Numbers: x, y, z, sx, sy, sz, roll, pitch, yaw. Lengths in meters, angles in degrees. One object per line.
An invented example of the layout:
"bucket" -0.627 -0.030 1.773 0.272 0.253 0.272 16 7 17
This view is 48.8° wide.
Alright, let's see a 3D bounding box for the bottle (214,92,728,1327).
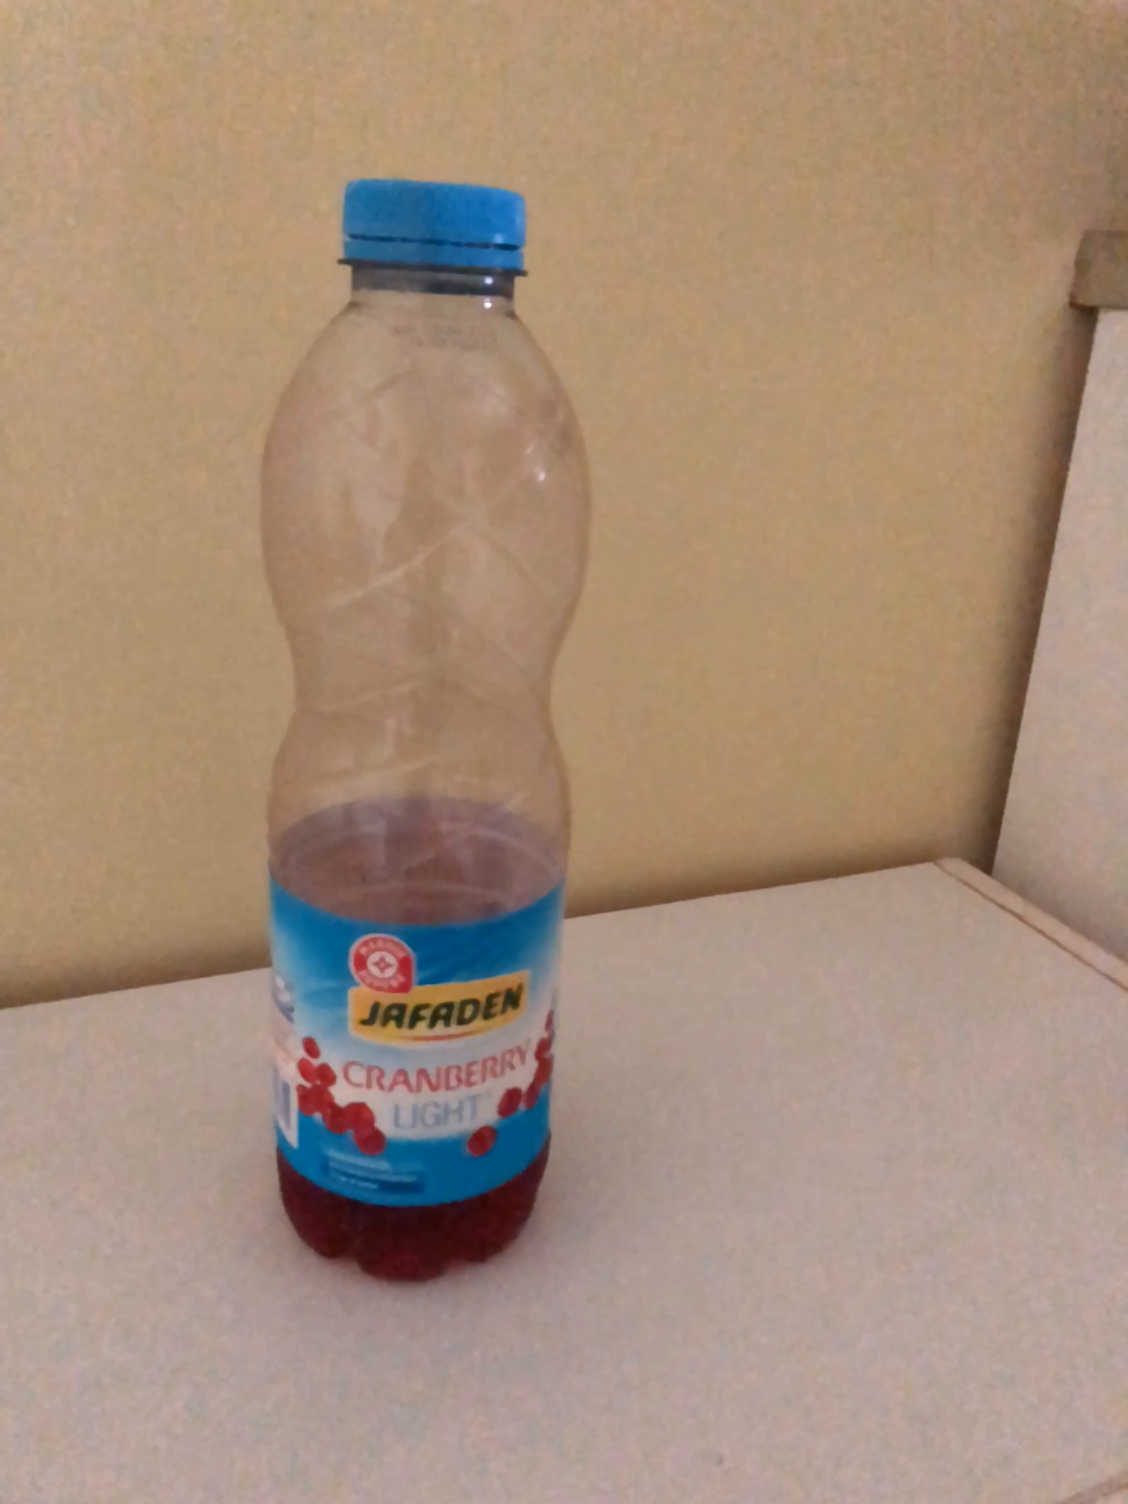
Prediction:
"bottle" -0.031 -0.003 0.308 0.090 0.269 0.080 -4 21 -20
